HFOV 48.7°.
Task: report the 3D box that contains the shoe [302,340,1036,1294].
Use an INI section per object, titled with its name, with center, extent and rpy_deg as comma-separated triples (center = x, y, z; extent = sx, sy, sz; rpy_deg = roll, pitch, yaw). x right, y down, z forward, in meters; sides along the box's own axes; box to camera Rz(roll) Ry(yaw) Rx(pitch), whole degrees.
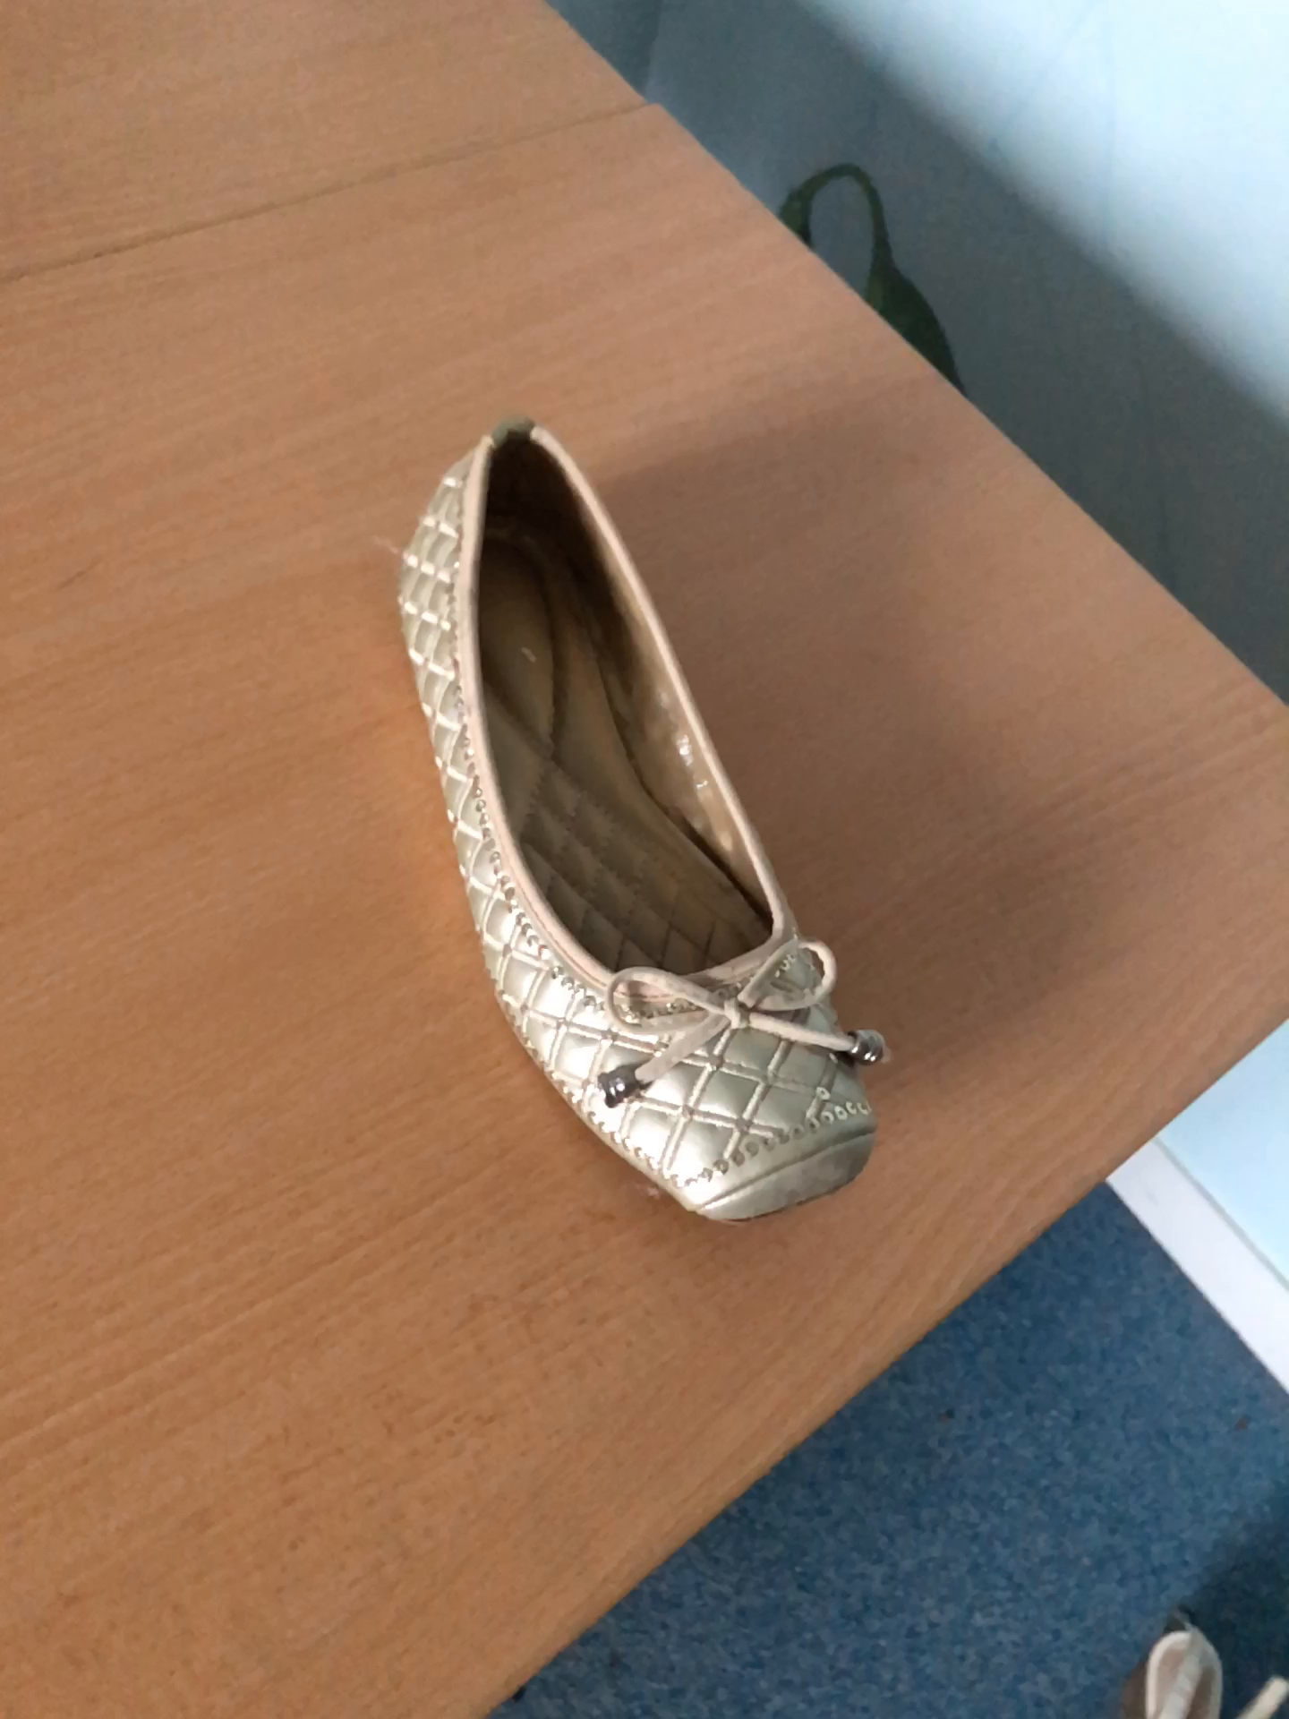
[shoe]
center = -0.010, -0.025, 0.416
extent = 0.100, 0.080, 0.260
rpy_deg = -17, 65, -22
